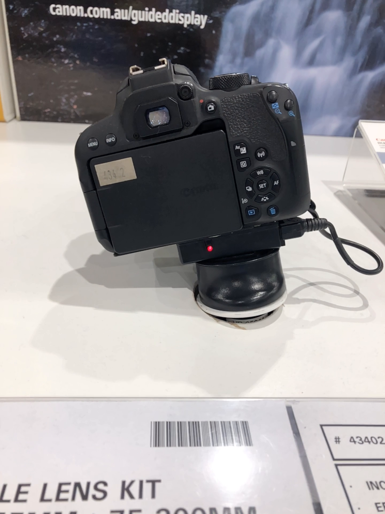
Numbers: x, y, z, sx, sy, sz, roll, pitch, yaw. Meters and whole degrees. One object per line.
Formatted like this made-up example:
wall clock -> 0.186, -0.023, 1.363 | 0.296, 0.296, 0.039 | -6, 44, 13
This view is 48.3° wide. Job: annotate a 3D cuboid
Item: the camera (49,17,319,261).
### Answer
camera -> -0.002, -0.070, 0.274 | 0.130, 0.104, 0.070 | -13, 14, 4
